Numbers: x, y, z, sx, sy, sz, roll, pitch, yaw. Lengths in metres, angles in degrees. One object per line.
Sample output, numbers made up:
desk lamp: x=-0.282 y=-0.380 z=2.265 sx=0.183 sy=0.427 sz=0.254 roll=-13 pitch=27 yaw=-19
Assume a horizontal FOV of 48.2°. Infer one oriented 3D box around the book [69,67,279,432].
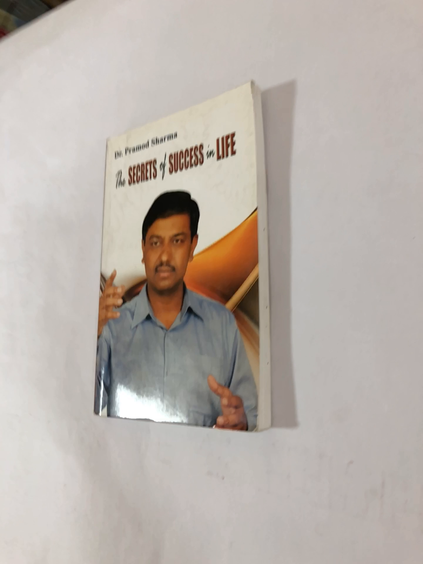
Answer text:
book: x=-0.031 y=-0.016 z=0.313 sx=0.151 sy=0.020 sz=0.210 roll=-8 pitch=76 yaw=34
